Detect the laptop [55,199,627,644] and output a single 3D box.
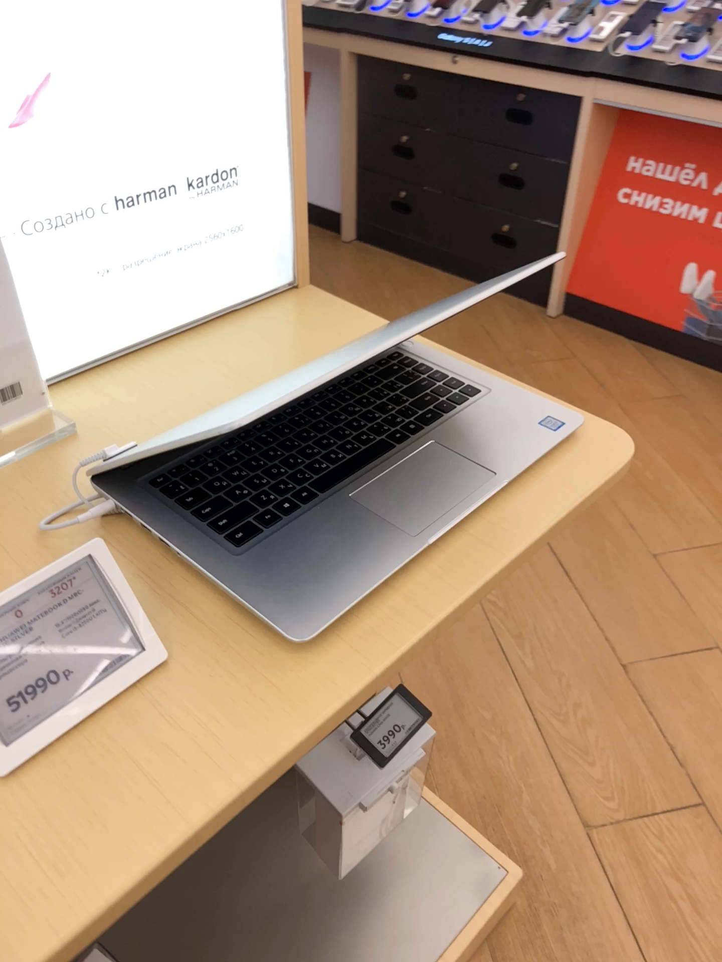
[{"bbox_3d":[0.001,-0.079,0.605,0.230,0.135,0.343,30,46,31],"label":"laptop"}]
